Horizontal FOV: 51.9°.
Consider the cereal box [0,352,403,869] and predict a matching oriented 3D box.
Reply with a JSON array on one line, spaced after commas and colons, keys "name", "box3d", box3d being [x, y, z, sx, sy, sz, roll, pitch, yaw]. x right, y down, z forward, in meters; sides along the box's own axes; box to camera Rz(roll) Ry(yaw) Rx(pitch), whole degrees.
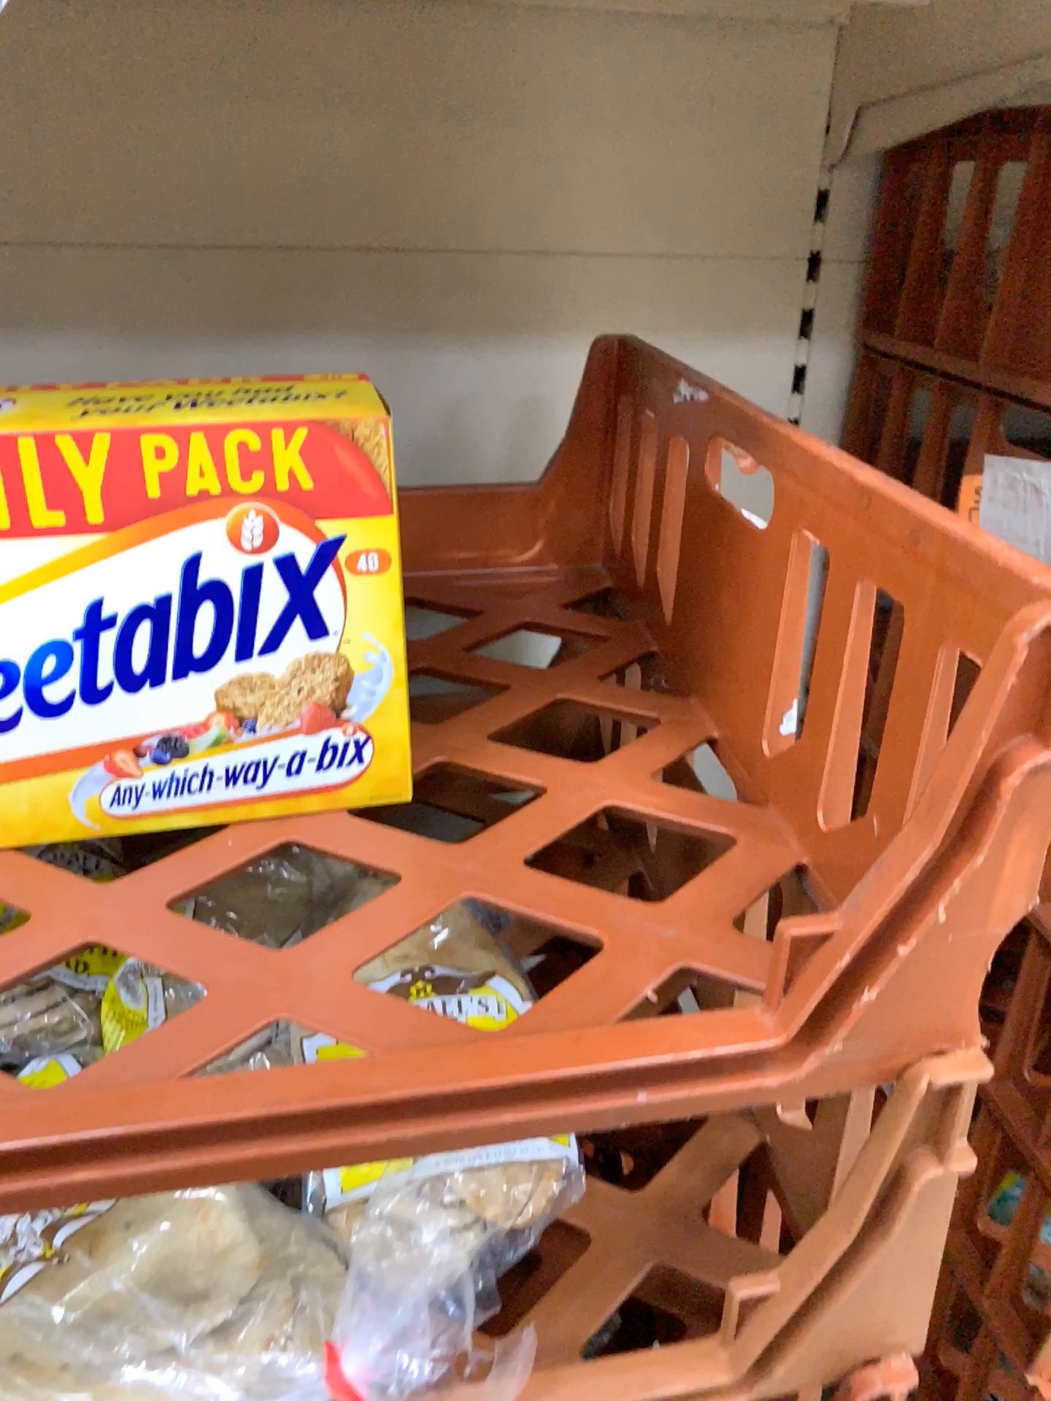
[{"name": "cereal box", "box3d": [-0.194, -0.048, 0.484, 0.260, 0.188, 0.101, -5, 27, -13]}]
